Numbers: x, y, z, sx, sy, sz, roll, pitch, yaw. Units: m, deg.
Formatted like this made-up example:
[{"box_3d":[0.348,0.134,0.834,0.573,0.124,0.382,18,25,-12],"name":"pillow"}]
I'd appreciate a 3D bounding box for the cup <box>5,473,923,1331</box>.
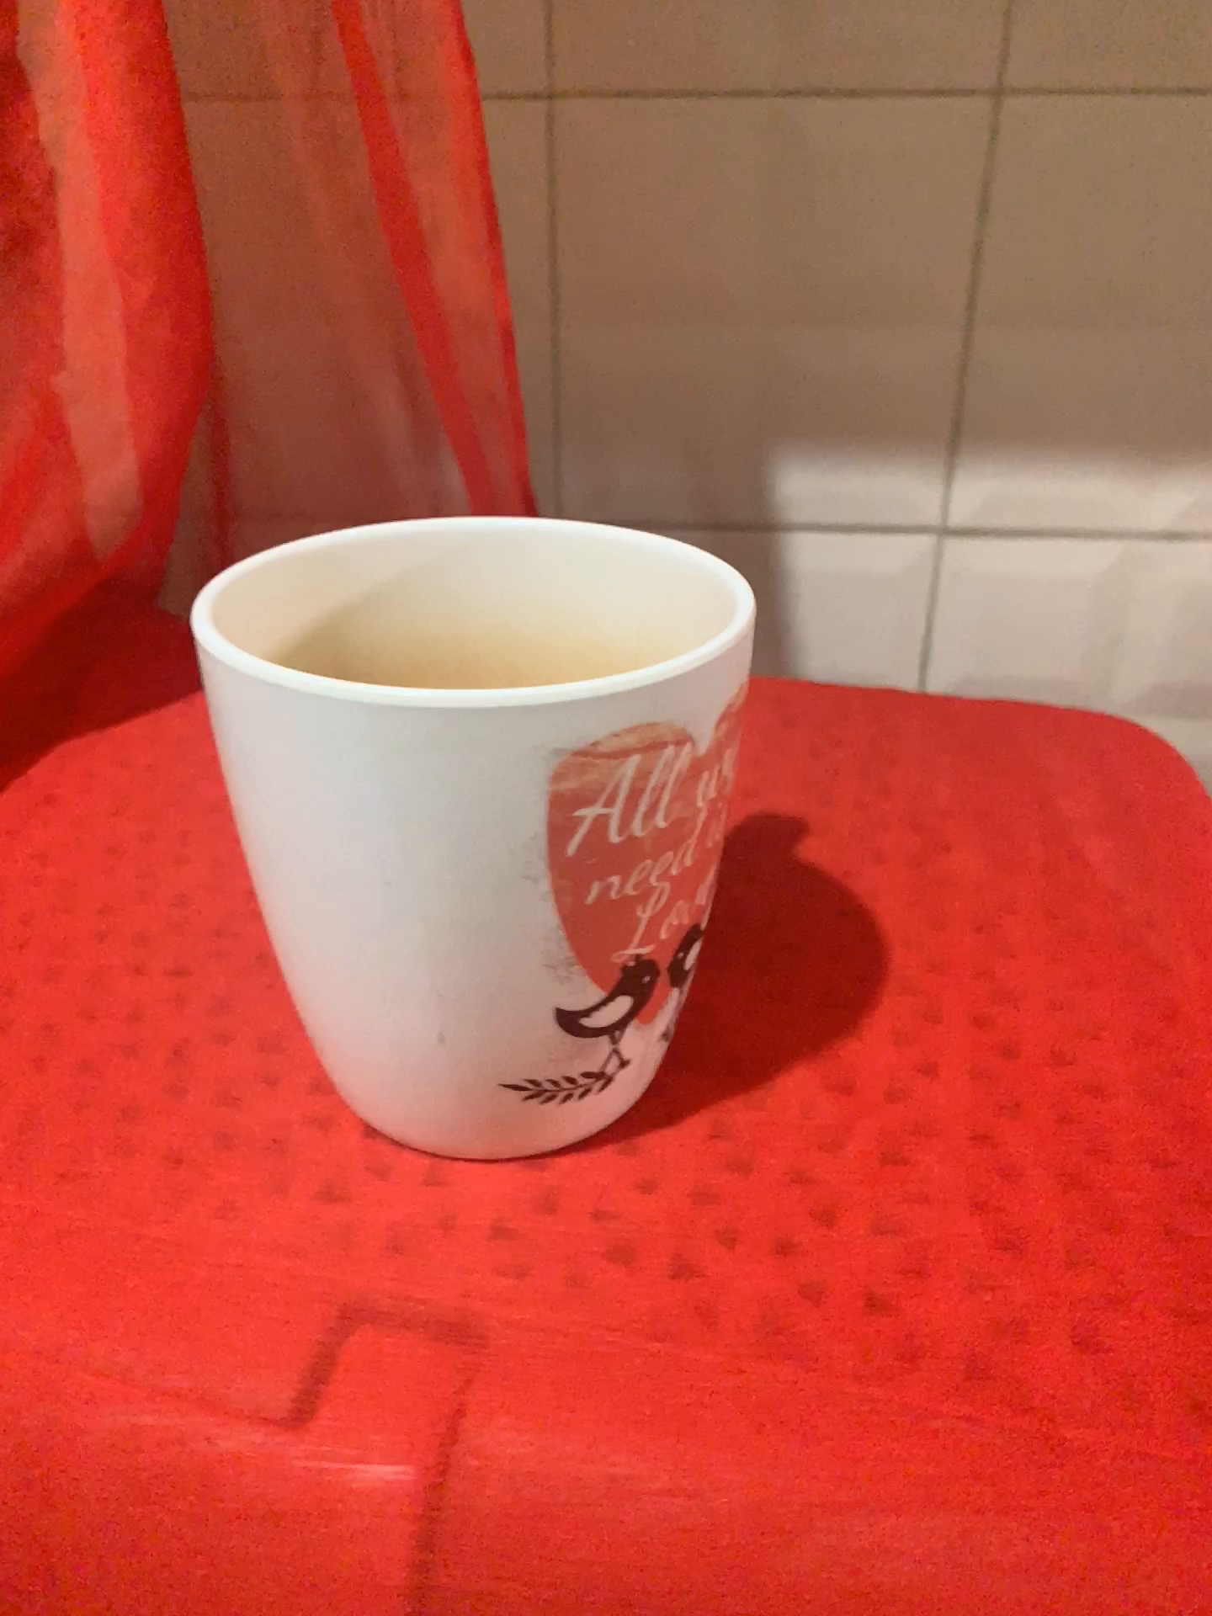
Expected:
[{"box_3d":[-0.017,0.001,0.215,0.090,0.079,0.111,20,34,33],"name":"cup"}]
